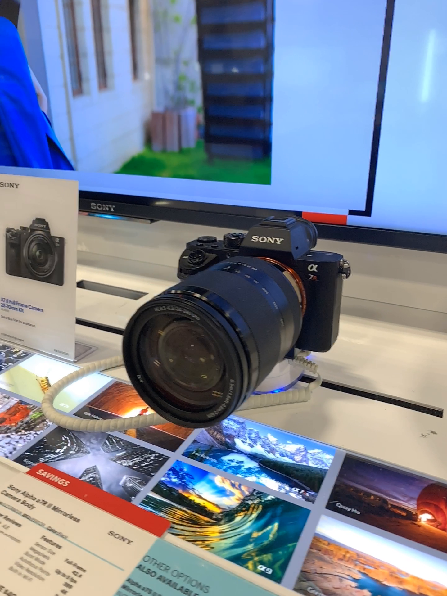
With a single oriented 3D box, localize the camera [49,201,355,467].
[{"bbox_3d":[0.005,0.000,0.313,0.128,0.091,0.185,8,24,22],"label":"camera"}]
